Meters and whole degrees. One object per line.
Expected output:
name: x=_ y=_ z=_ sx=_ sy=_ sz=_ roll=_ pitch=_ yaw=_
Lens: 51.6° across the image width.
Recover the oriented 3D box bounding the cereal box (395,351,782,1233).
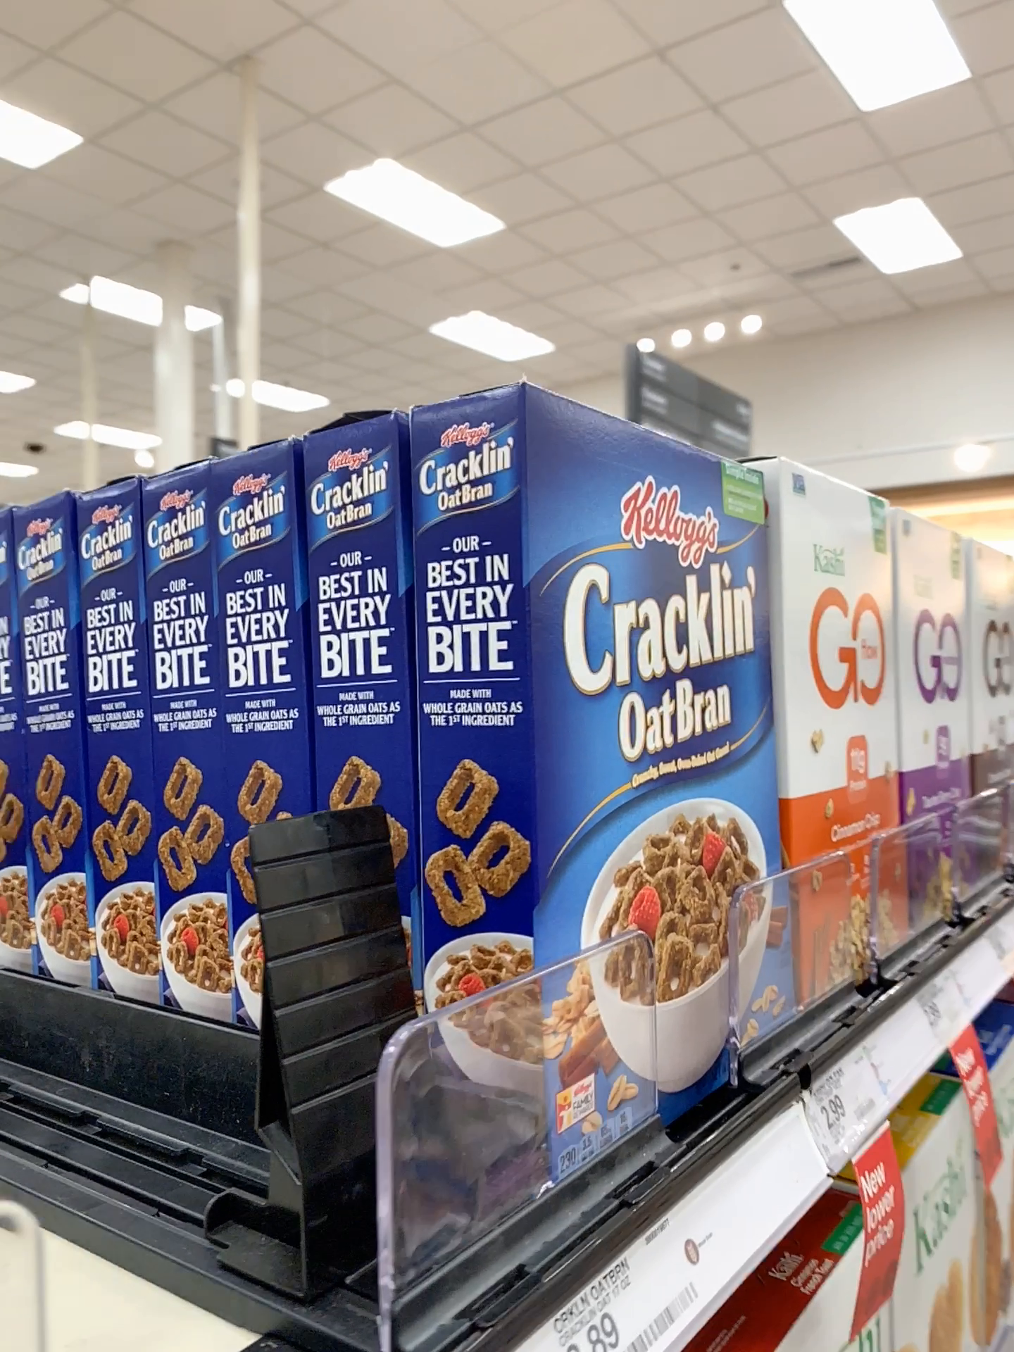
cereal box: x=0.041 y=0.031 z=0.380 sx=0.050 sy=0.240 sz=0.190 roll=-2 pitch=-2 yaw=32
